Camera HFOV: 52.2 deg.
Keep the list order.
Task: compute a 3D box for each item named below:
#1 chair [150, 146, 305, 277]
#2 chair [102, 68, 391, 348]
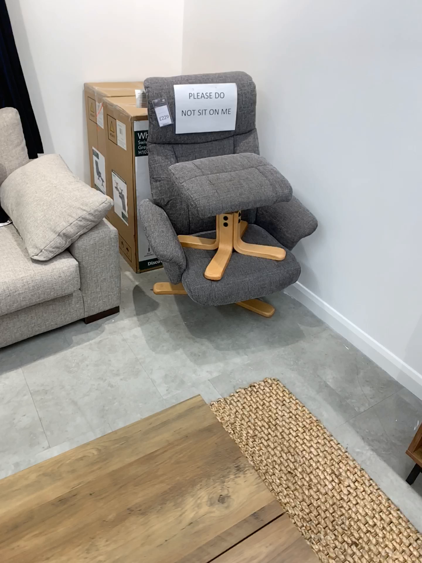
[{"bbox_3d":[0.044,-0.330,1.885,0.497,0.352,0.449,-12,37,-24],"label":"chair"},{"bbox_3d":[0.071,-0.401,1.947,0.868,0.896,0.791,-12,37,-24],"label":"chair"}]
